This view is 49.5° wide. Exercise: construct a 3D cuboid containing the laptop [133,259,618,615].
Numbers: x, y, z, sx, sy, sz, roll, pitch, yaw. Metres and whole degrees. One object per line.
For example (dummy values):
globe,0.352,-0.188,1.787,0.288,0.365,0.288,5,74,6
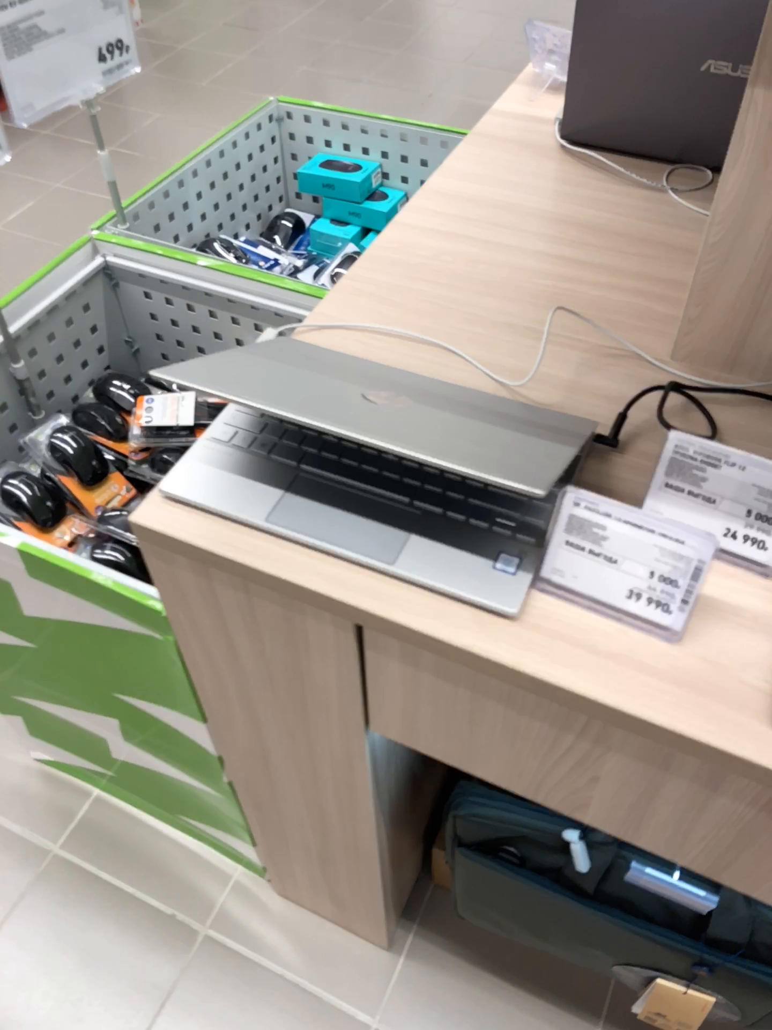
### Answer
laptop,-0.004,-0.080,0.688,0.322,0.095,0.206,19,53,18
